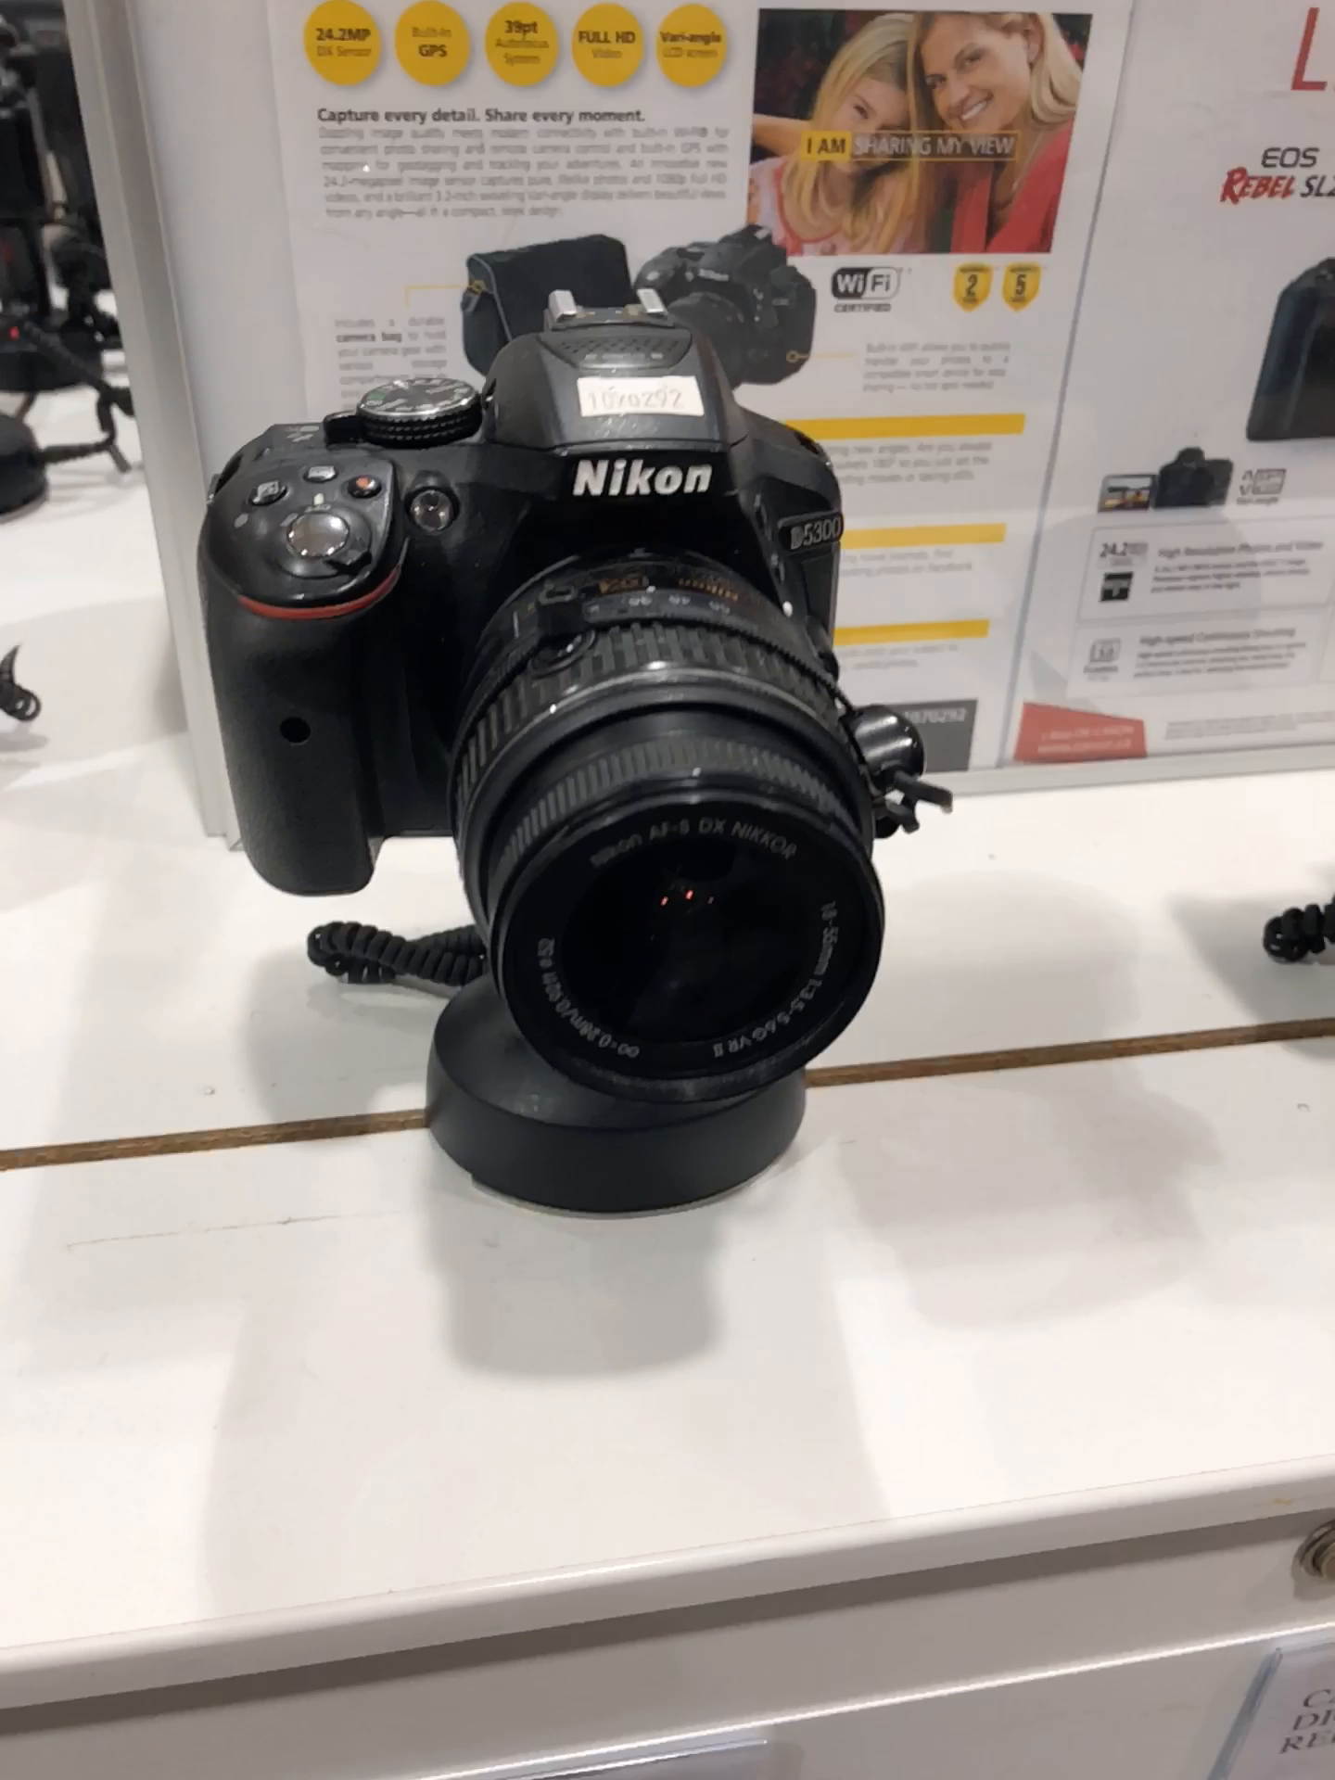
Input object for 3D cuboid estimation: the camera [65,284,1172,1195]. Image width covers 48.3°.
[{"bbox_3d":[-0.016,-0.039,0.254,0.130,0.090,0.140,-6,34,-10],"label":"camera"}]
